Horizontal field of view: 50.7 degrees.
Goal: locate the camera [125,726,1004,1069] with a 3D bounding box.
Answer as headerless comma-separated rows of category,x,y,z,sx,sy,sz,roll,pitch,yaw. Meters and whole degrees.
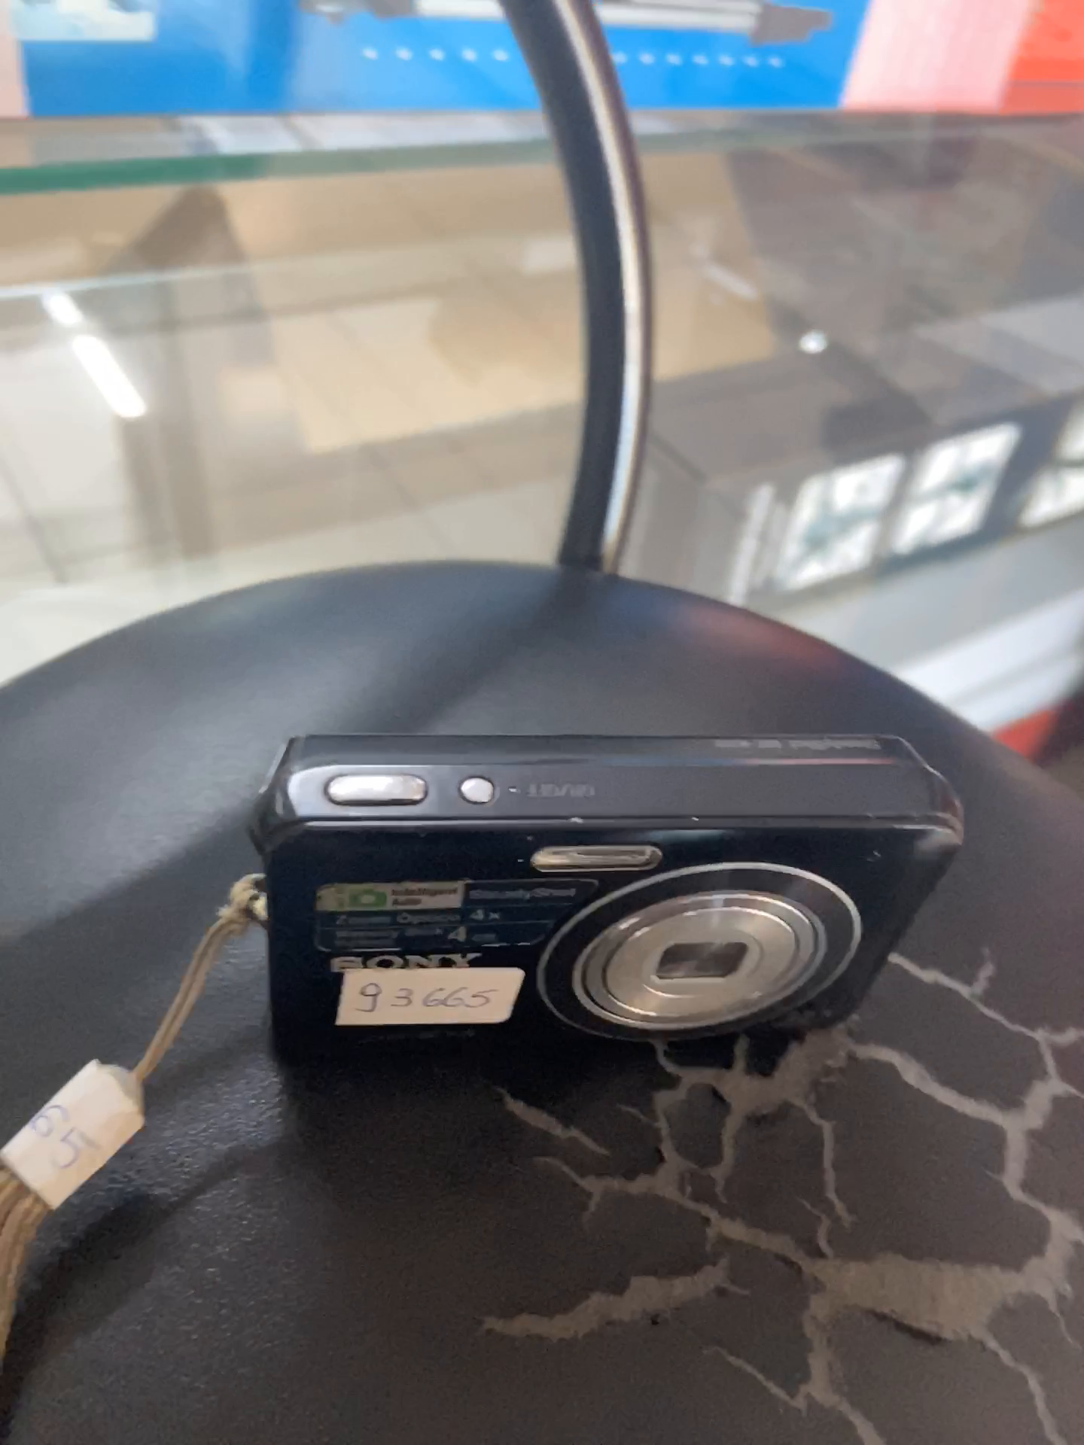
camera,0.002,0.026,0.165,0.110,0.050,0.020,1,44,-10
